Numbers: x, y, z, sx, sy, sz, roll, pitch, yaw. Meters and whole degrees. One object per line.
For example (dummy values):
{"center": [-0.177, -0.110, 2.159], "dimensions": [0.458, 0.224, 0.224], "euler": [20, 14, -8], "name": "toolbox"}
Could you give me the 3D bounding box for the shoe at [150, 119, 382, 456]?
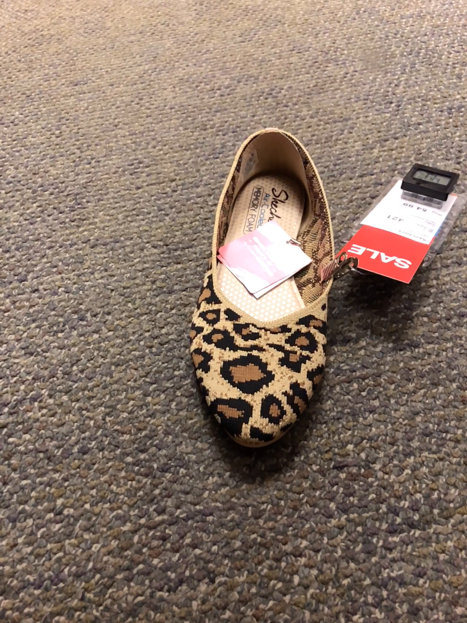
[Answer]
{"center": [0.023, -0.032, 0.328], "dimensions": [0.104, 0.056, 0.233], "euler": [0, 50, 6], "name": "shoe"}
